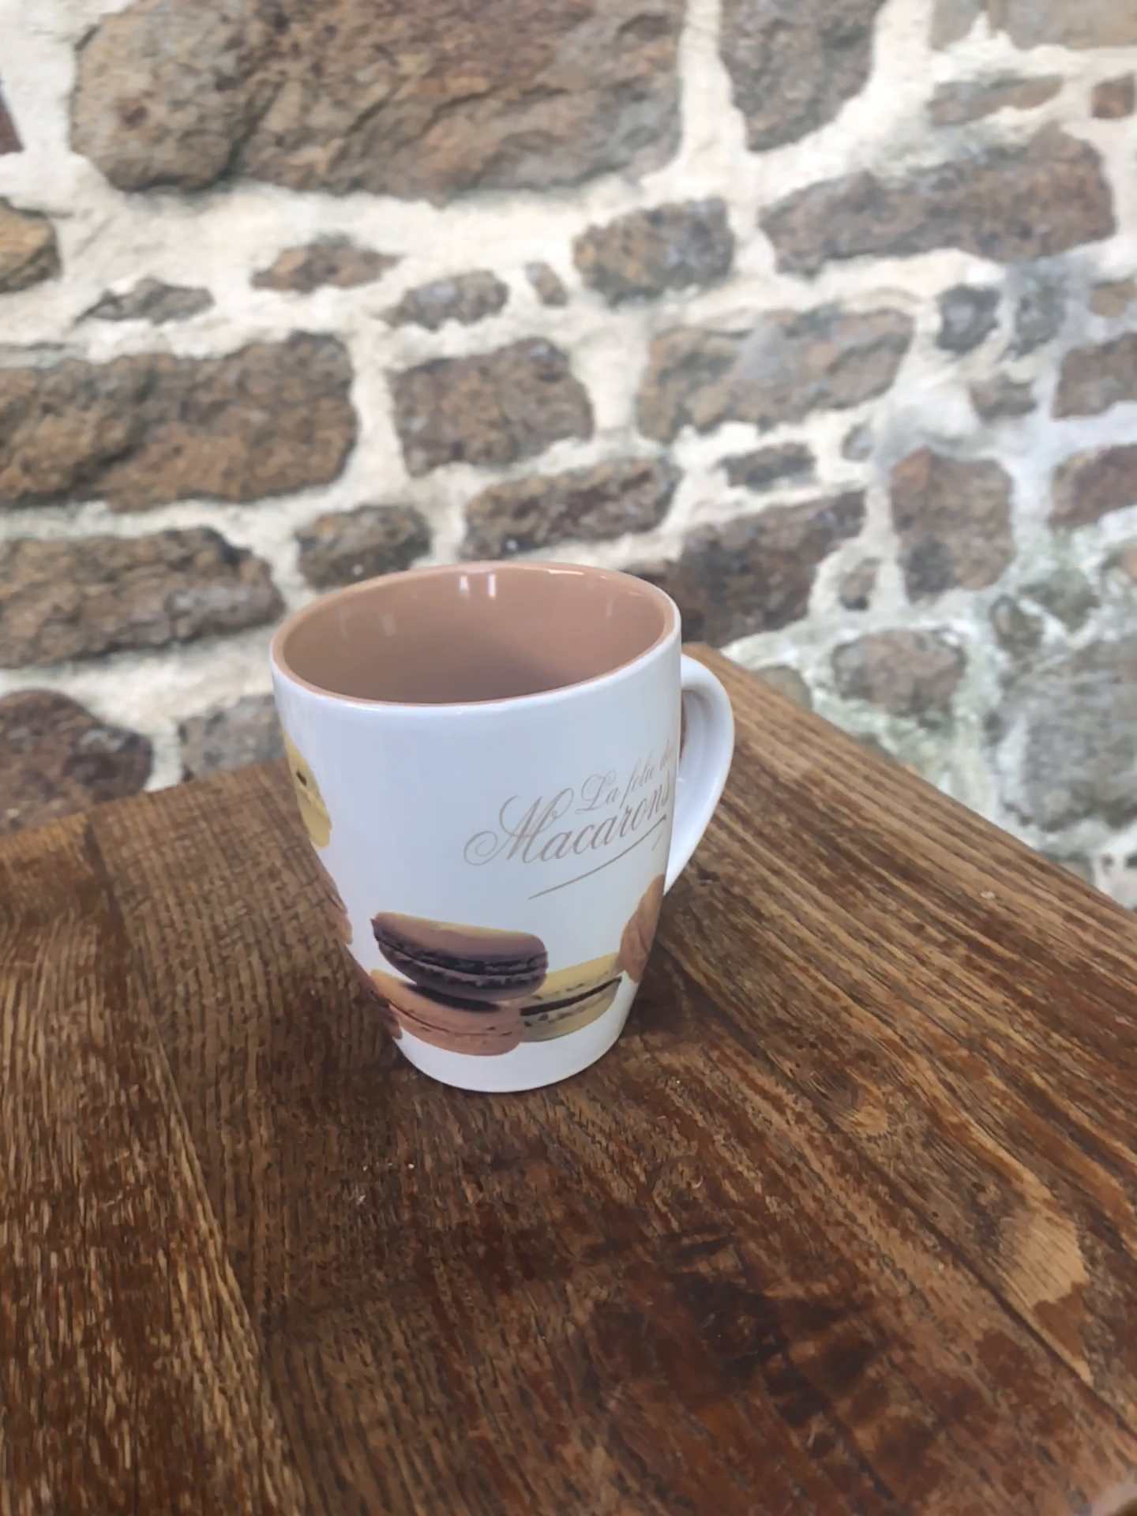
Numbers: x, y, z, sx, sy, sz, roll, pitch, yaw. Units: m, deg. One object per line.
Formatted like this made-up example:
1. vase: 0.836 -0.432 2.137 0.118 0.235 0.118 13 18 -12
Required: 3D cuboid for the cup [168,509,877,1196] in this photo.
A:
1. cup: -0.006 0.010 0.295 0.124 0.090 0.093 -26 34 -33
